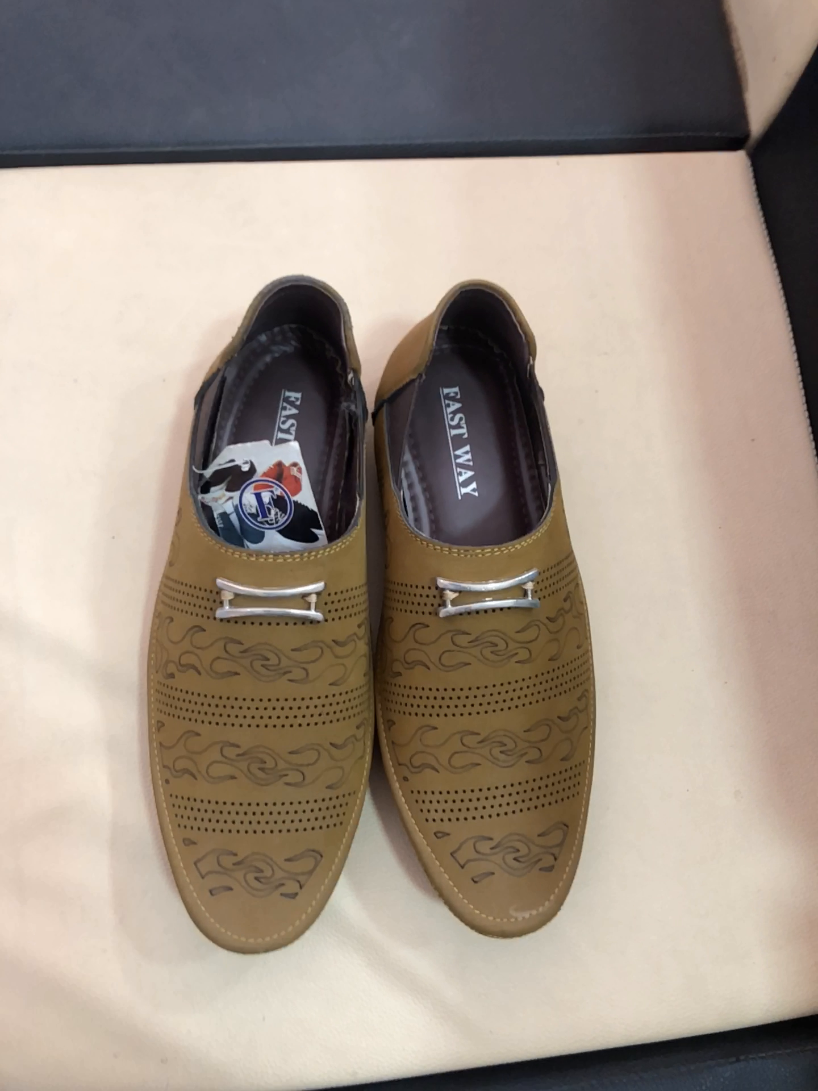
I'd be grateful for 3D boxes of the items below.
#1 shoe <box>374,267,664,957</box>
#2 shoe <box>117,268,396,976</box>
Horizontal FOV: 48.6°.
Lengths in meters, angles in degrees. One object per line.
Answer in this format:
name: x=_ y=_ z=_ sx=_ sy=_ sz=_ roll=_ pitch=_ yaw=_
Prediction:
shoe: x=0.039 y=0.026 z=0.416 sx=0.100 sy=0.100 sz=0.280 roll=-2 pitch=76 yaw=-2
shoe: x=-0.061 y=0.029 z=0.408 sx=0.100 sy=0.100 sz=0.280 roll=-2 pitch=76 yaw=-2
